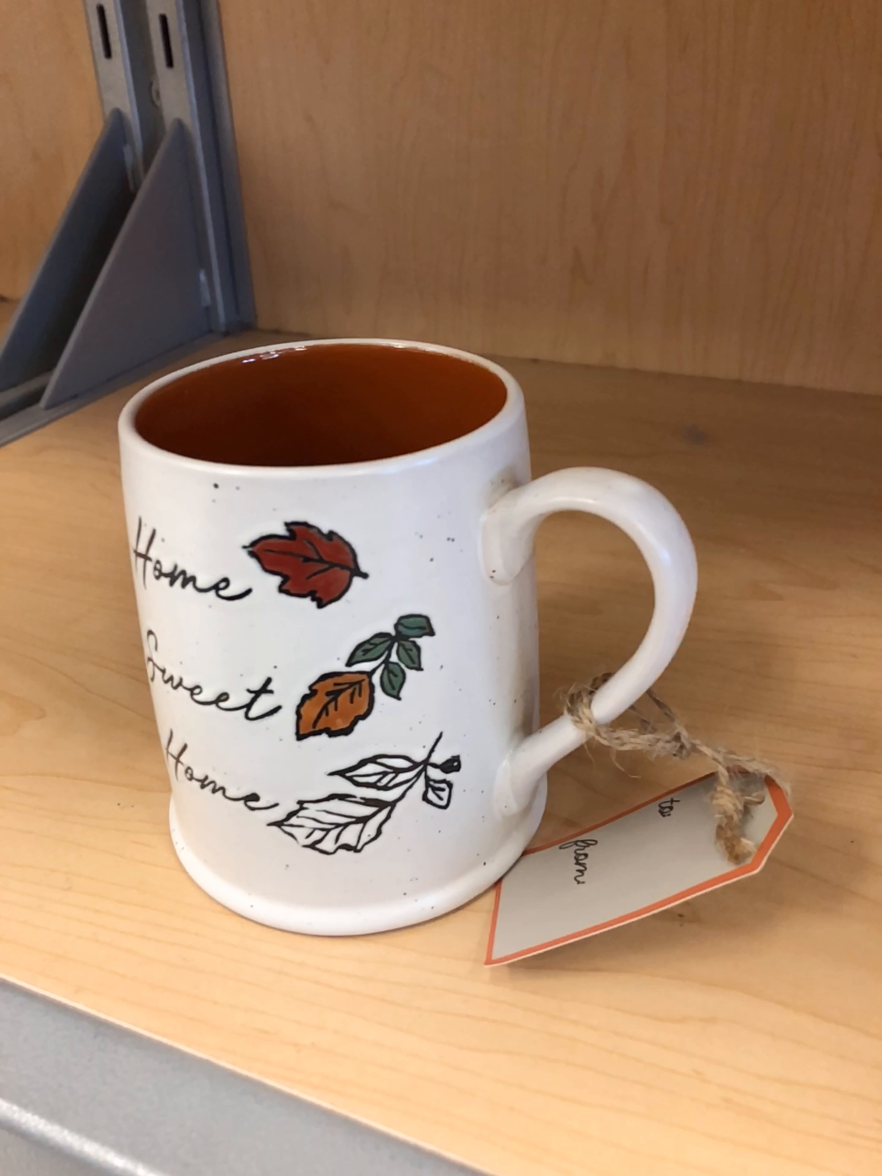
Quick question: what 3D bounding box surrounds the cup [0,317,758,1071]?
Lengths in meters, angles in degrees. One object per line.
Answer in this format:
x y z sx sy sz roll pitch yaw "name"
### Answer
-0.012 0.011 0.196 0.125 0.099 0.081 10 33 19 "cup"
